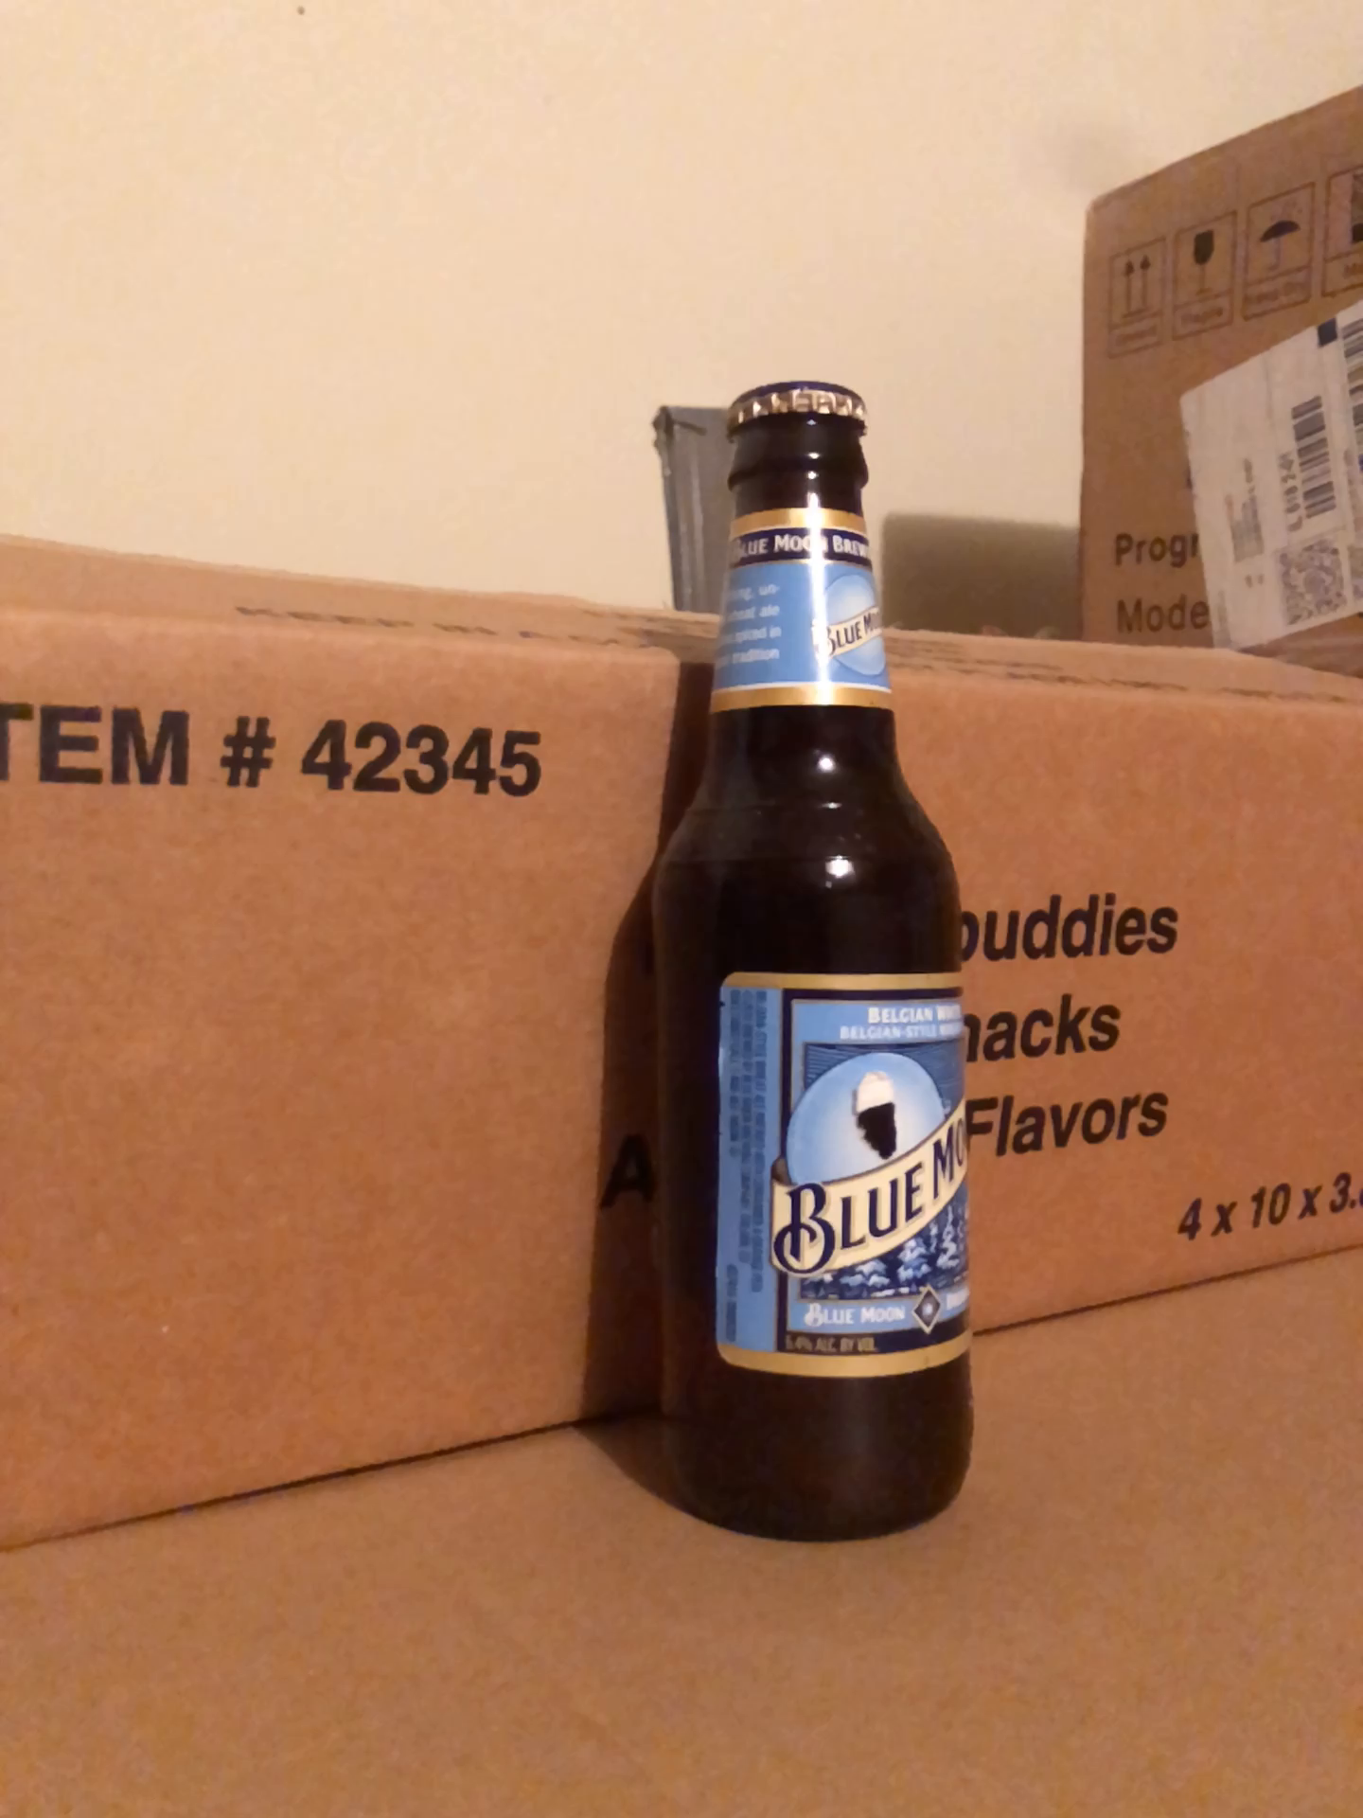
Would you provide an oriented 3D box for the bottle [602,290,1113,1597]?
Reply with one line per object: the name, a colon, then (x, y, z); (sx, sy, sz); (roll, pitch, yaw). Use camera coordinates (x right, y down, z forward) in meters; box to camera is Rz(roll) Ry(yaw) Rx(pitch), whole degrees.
bottle: (0.032, 0.005, 0.287); (0.070, 0.210, 0.060); (-2, 5, -37)
